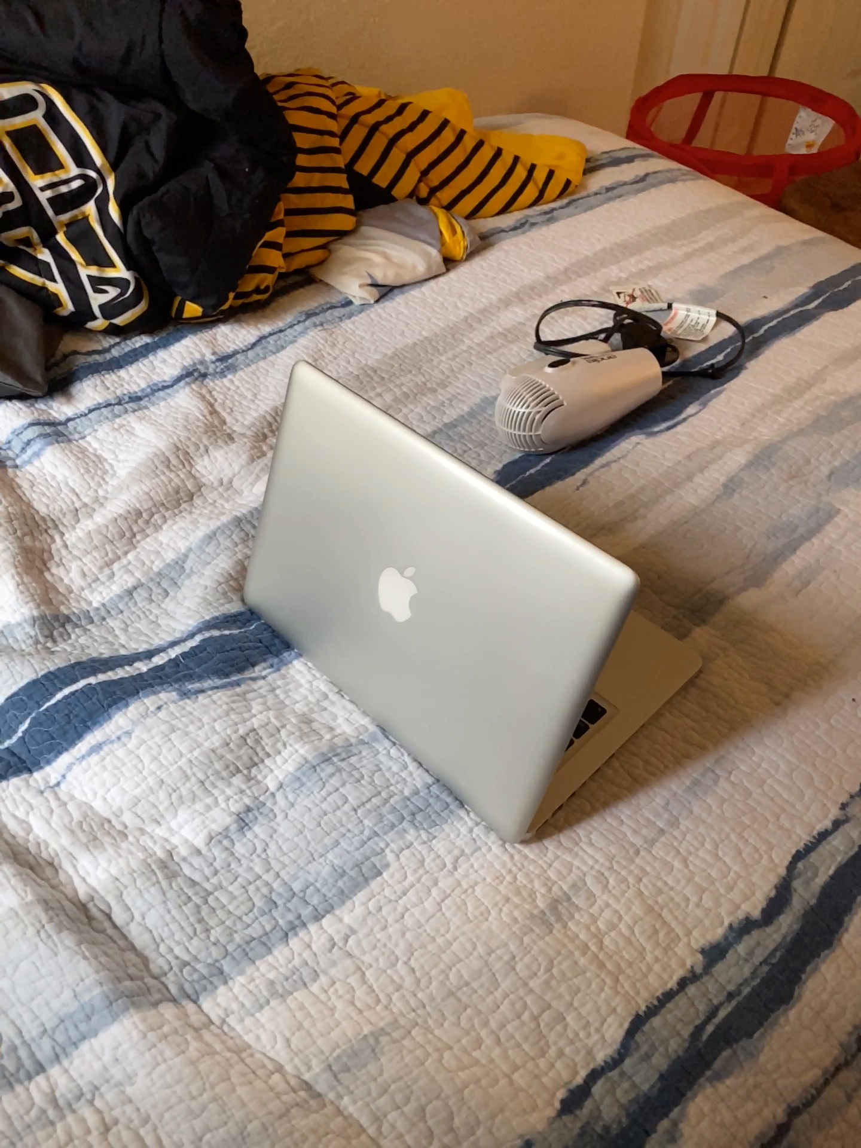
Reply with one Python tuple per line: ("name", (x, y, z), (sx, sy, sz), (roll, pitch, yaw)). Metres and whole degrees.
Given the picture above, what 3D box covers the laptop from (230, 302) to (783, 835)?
("laptop", (0.040, -0.021, 0.655), (0.215, 0.188, 0.301), (-34, 55, -28))
